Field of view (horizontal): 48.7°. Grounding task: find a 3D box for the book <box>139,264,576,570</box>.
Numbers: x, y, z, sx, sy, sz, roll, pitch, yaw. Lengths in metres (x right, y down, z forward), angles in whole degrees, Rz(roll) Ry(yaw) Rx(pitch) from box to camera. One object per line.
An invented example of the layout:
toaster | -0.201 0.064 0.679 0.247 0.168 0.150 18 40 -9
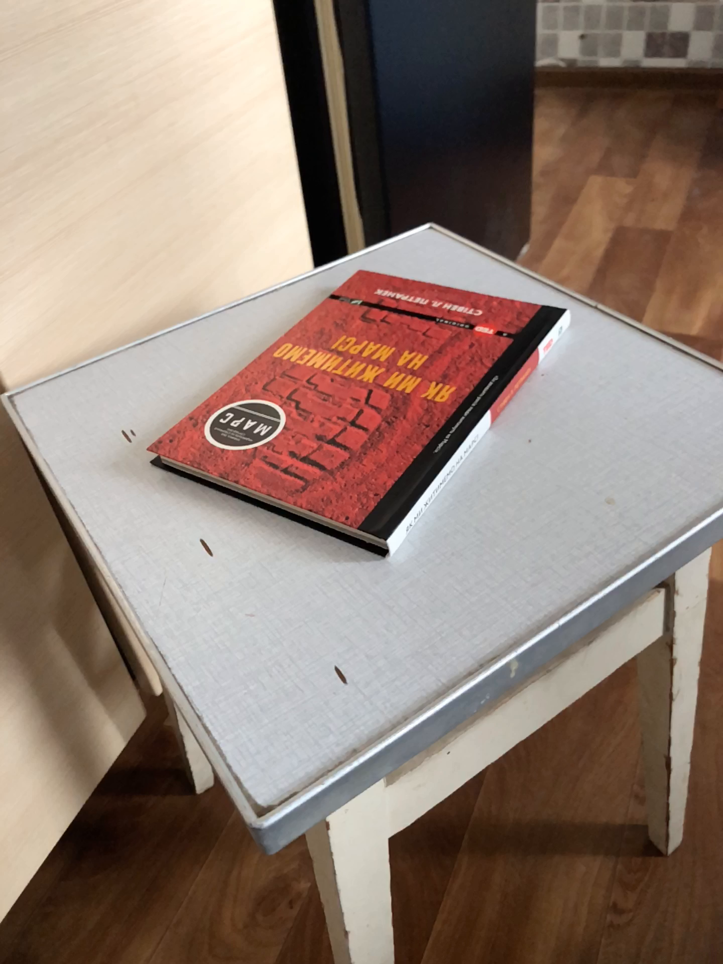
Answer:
book | 0.007 -0.053 0.435 0.146 0.015 0.214 19 47 27
